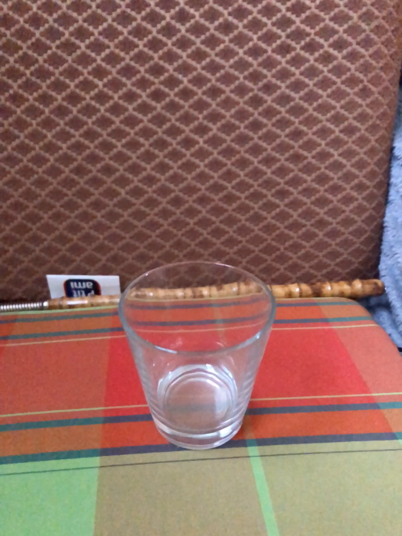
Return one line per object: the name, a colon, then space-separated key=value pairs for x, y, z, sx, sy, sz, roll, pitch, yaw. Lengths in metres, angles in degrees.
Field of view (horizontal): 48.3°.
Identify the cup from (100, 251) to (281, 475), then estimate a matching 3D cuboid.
cup: x=-0.006 y=0.051 z=0.255 sx=0.080 sy=0.089 sz=0.080 roll=0 pitch=31 yaw=0
